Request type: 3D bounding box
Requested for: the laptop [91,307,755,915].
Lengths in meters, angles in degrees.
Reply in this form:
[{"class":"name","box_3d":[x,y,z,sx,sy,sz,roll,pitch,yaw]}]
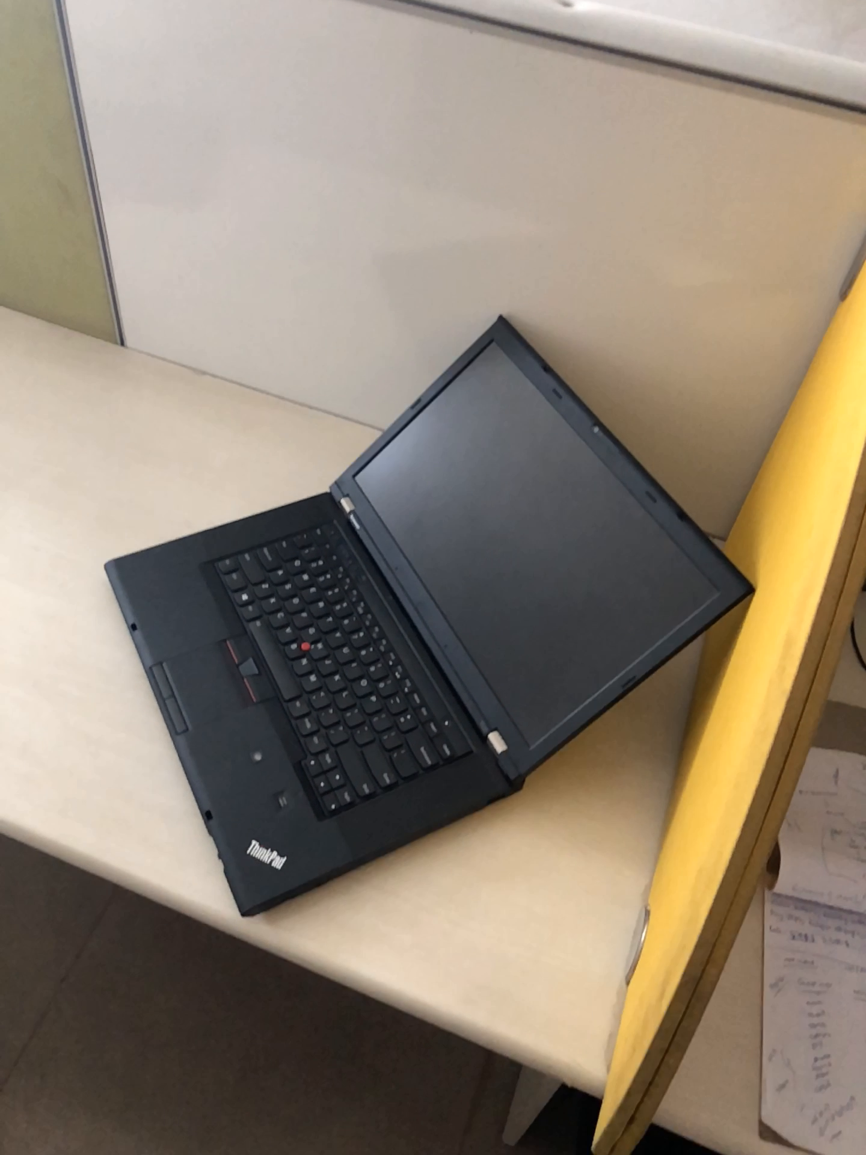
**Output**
[{"class":"laptop","box_3d":[-0.023,-0.006,0.800,0.418,0.143,0.354,-22,57,-19]}]
